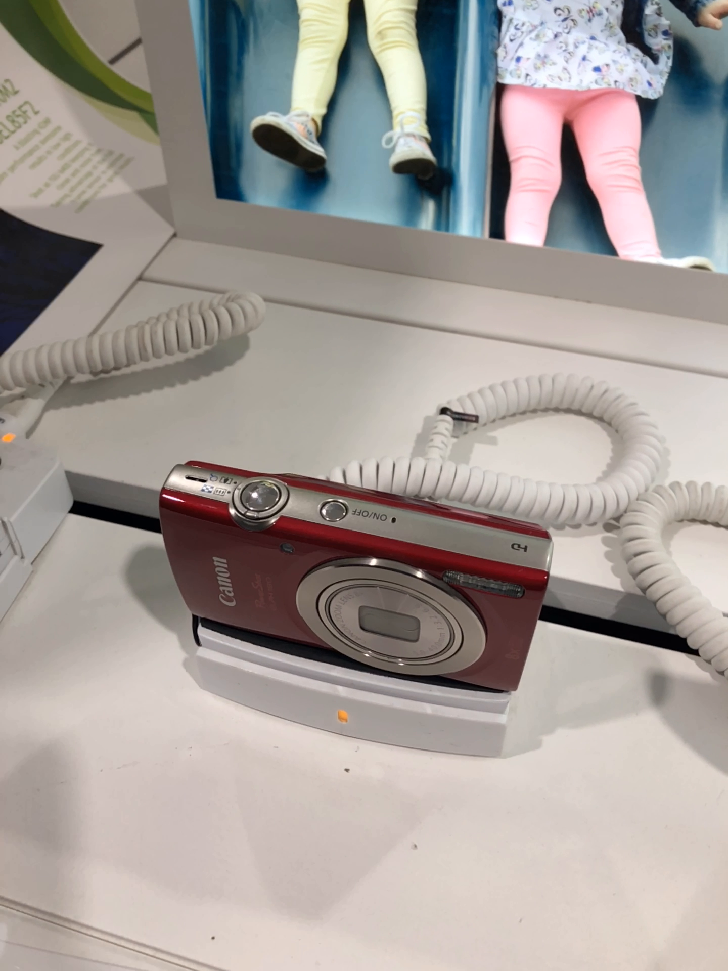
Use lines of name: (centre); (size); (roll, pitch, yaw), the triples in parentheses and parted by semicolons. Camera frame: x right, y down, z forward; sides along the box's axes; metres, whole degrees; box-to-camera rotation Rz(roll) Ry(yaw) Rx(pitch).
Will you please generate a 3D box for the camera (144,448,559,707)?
camera: (-0.003, 0.023, 0.204); (0.093, 0.050, 0.022); (10, 47, 10)
